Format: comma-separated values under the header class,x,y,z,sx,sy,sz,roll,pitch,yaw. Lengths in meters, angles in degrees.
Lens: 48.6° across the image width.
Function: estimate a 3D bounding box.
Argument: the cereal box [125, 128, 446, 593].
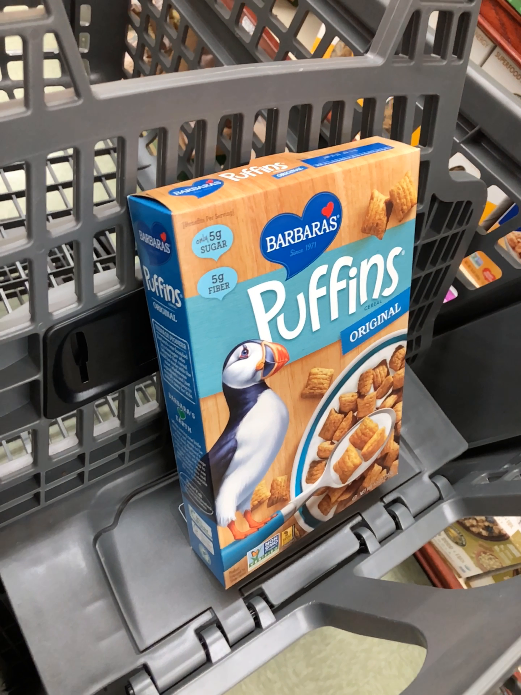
class,x,y,z,sx,sy,sz,roll,pitch,yaw
cereal box,0.031,0.008,0.384,0.190,0.260,0.050,-24,35,-30
